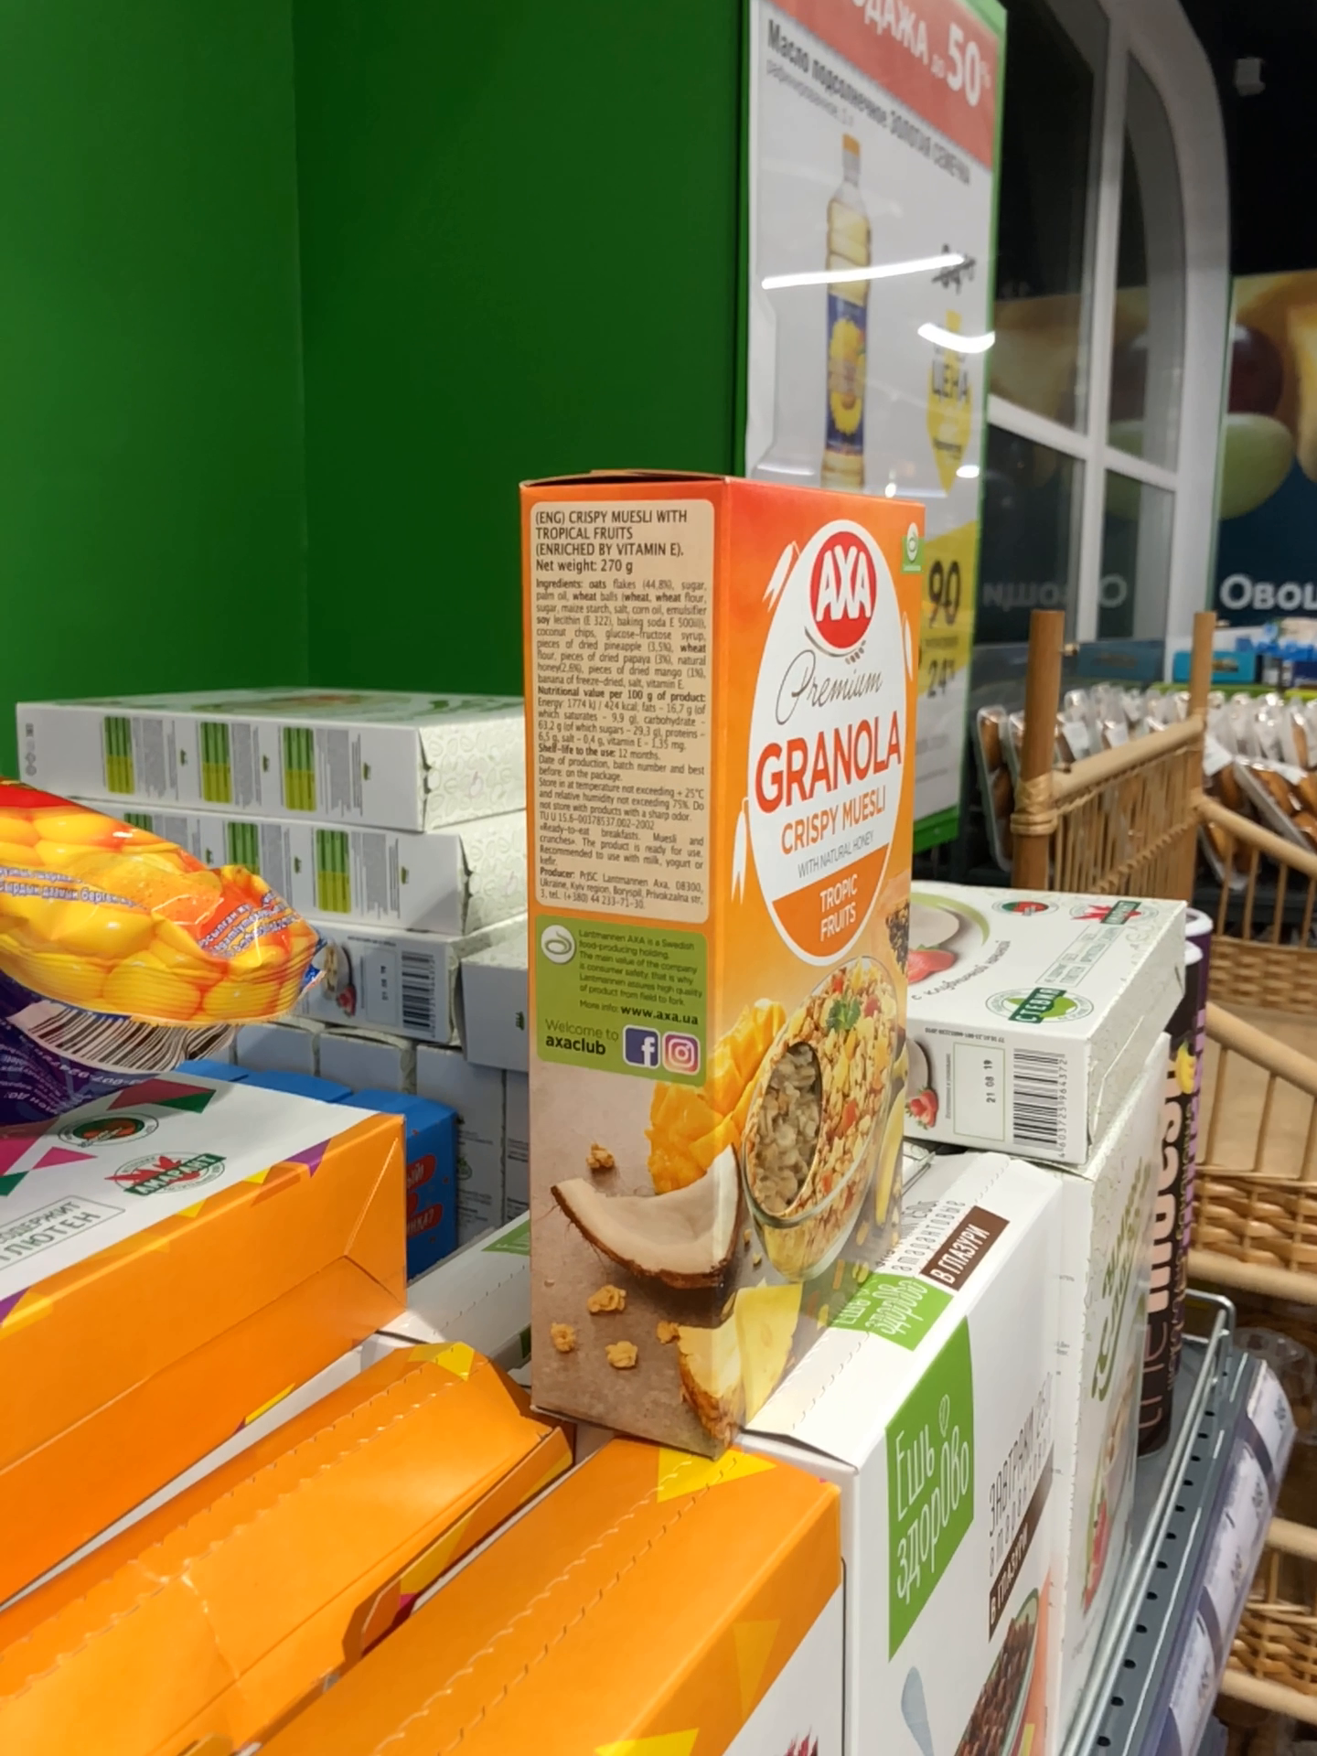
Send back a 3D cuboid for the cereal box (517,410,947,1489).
[{"bbox_3d":[0.024,0.007,0.361,0.050,0.219,0.140,5,11,26],"label":"cereal box"}]
